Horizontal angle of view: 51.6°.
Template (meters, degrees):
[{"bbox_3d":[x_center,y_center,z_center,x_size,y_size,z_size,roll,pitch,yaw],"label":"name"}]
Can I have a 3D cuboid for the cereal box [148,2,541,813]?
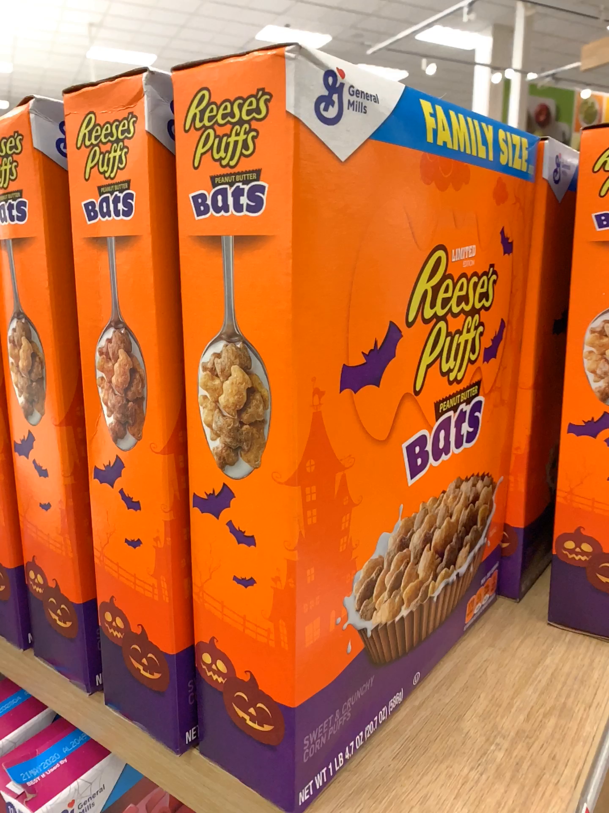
[{"bbox_3d":[0.041,-0.002,0.343,0.070,0.309,0.240,10,16,36],"label":"cereal box"}]
